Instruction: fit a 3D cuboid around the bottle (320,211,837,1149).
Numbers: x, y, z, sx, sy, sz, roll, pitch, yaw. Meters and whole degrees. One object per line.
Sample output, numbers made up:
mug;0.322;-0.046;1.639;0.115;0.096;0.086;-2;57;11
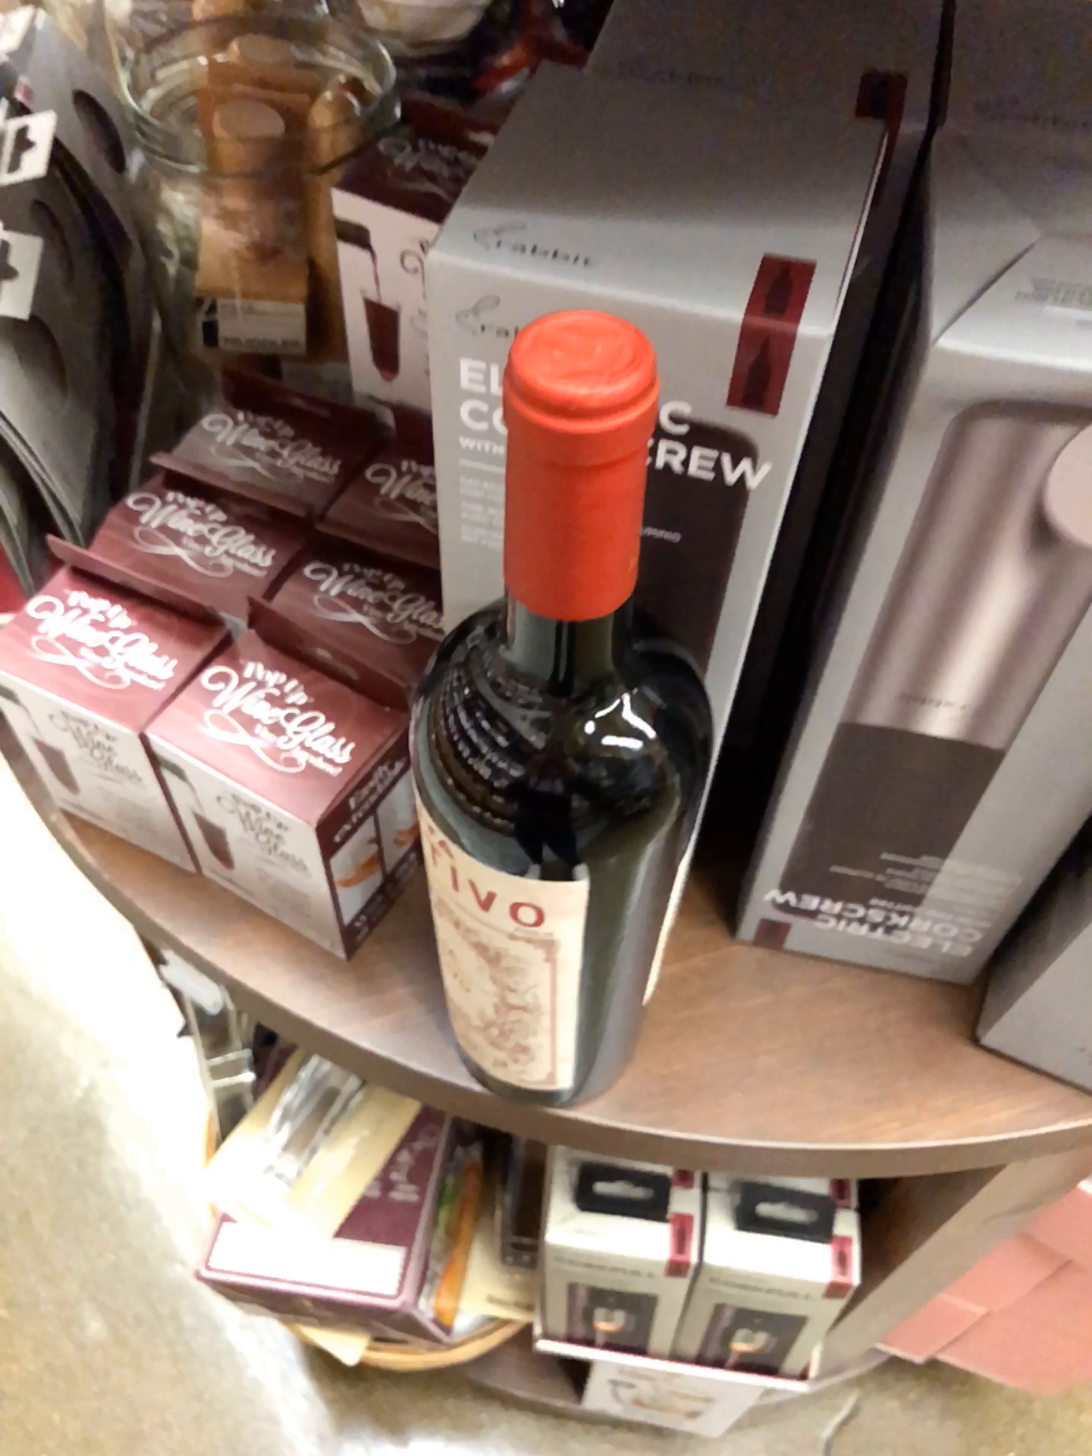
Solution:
bottle;0.002;0.023;0.335;0.071;0.299;0.072;0;53;0
